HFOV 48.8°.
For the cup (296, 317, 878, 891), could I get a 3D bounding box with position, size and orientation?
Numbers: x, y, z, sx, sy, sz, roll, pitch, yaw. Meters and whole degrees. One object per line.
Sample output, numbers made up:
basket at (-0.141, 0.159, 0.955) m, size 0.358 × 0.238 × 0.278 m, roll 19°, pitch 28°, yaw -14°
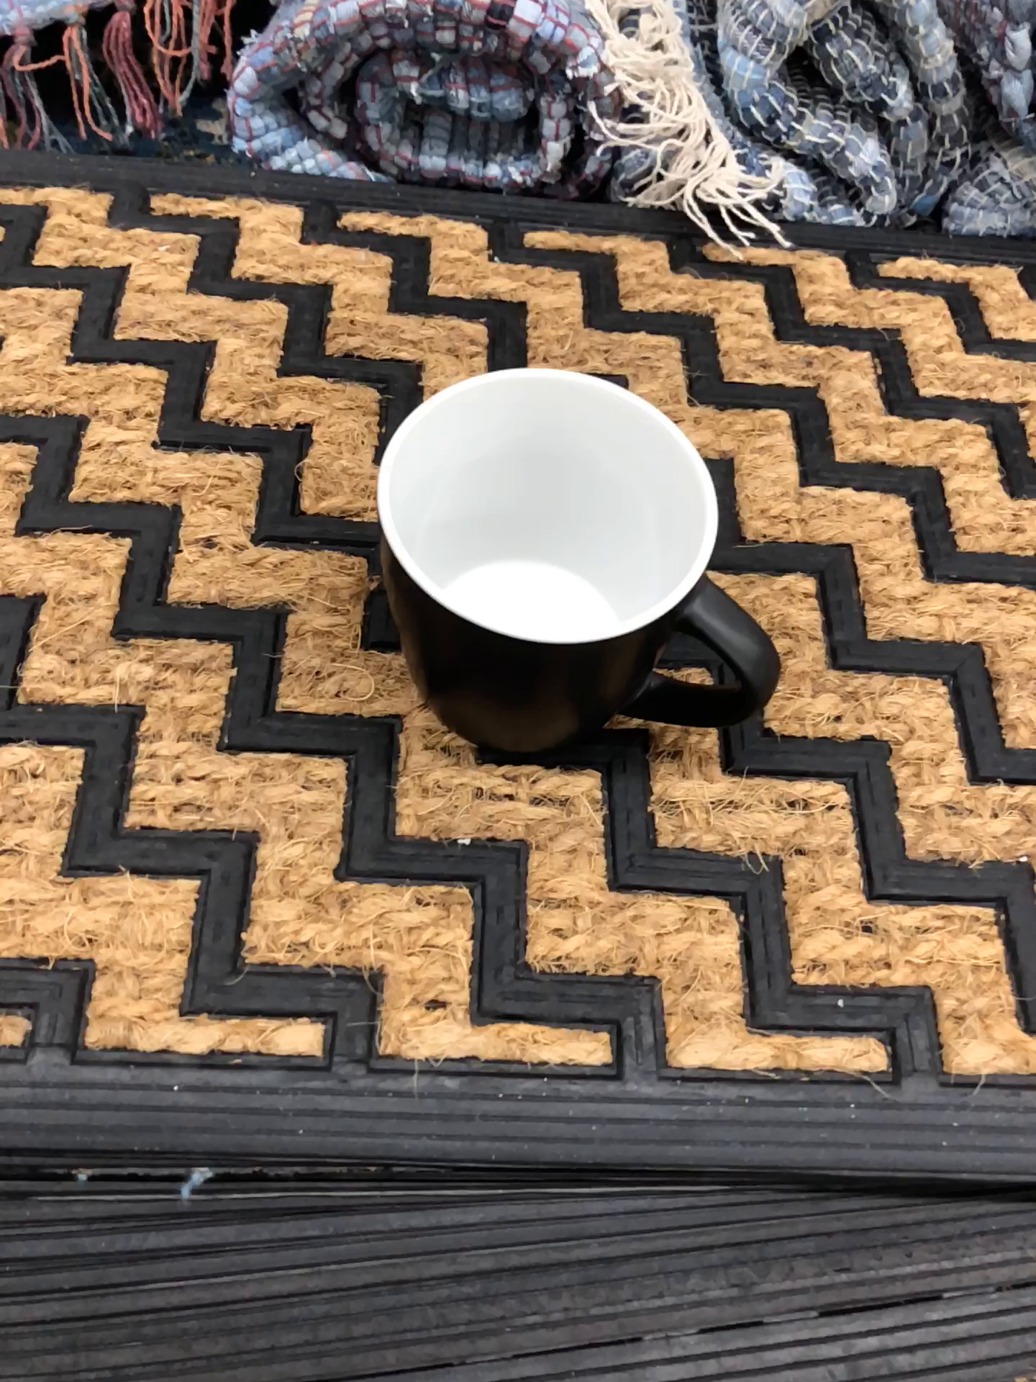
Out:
cup at (0.017, -0.025, 0.330) m, size 0.123 × 0.081 × 0.090 m, roll 31°, pitch 63°, yaw 12°
